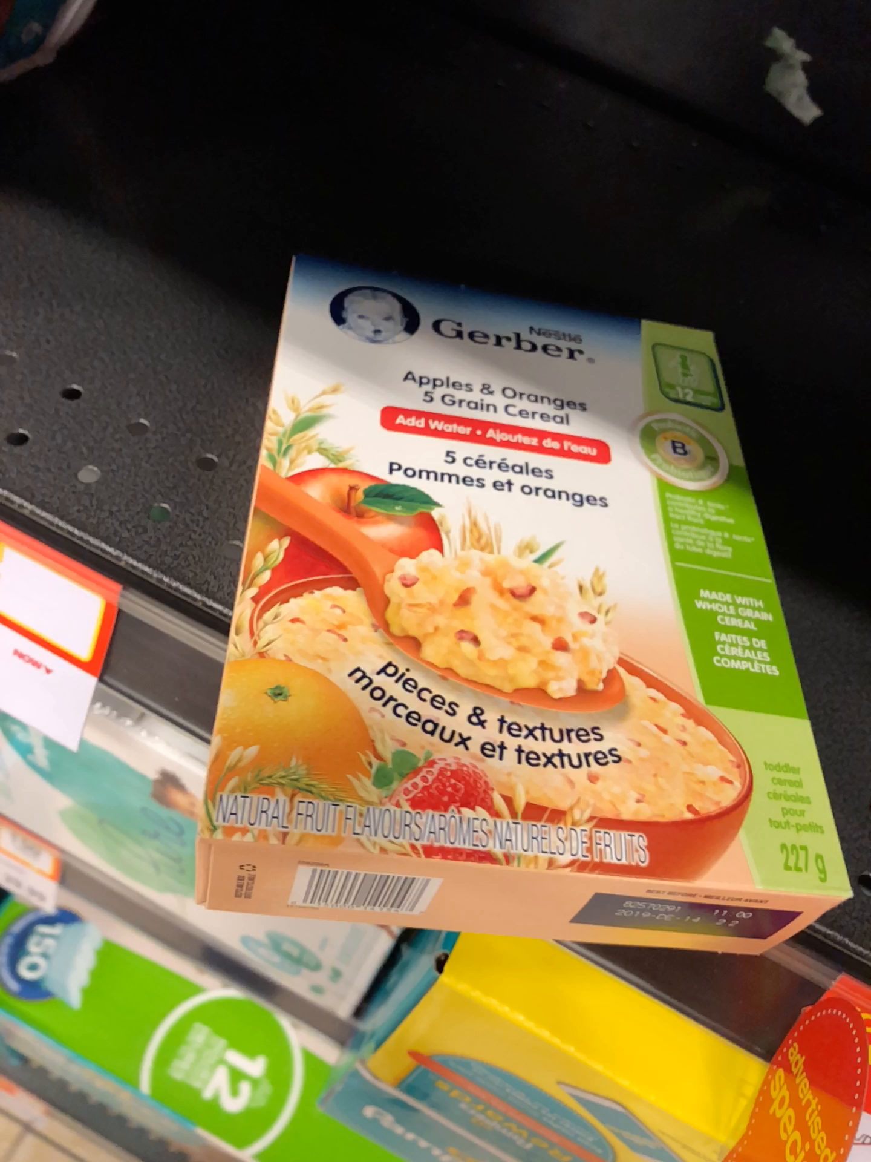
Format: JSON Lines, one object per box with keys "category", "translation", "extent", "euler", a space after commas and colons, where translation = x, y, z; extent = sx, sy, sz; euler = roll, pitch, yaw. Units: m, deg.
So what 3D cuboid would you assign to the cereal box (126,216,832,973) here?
{"category": "cereal box", "translation": [0.010, -0.008, 0.284], "extent": [0.150, 0.050, 0.210], "euler": [8, 53, -9]}
